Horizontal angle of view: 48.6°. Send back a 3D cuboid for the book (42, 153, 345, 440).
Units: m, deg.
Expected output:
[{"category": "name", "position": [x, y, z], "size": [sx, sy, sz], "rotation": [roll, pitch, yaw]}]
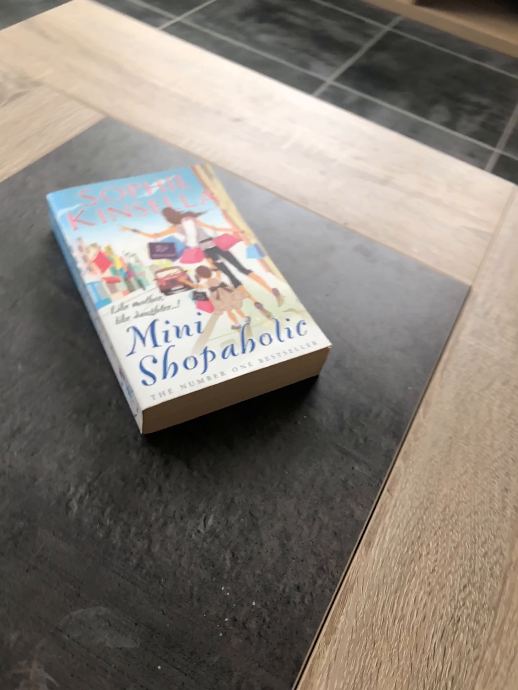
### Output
[{"category": "book", "position": [-0.052, -0.049, 0.393], "size": [0.132, 0.036, 0.200], "rotation": [-18, 57, -22]}]
